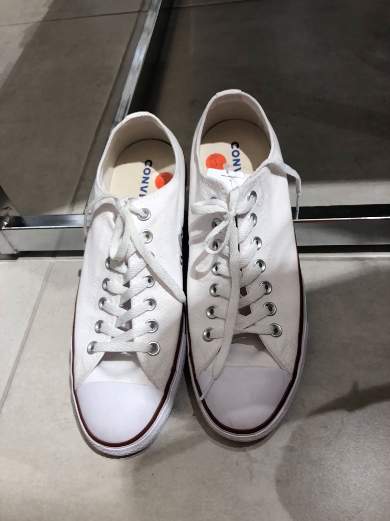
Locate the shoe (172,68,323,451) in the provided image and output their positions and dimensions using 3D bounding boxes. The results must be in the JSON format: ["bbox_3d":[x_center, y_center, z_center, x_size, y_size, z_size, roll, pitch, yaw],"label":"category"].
[{"bbox_3d":[0.043,-0.005,0.370,0.100,0.090,0.291,-2,75,10],"label":"shoe"}]

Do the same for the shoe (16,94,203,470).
[{"bbox_3d":[-0.060,0.011,0.381,0.110,0.090,0.291,0,75,11],"label":"shoe"}]
